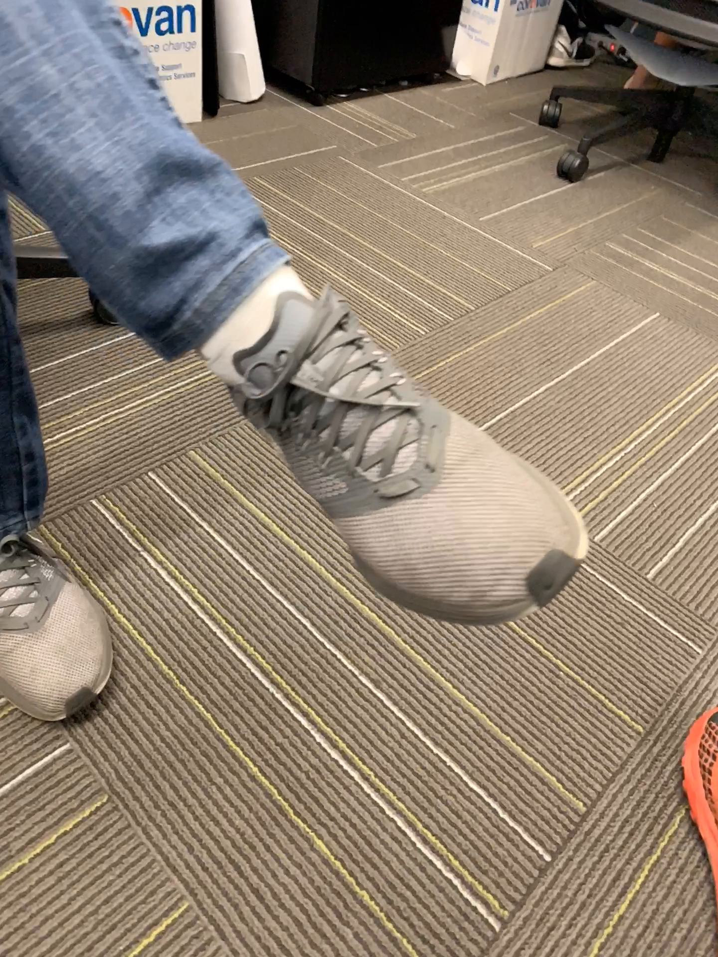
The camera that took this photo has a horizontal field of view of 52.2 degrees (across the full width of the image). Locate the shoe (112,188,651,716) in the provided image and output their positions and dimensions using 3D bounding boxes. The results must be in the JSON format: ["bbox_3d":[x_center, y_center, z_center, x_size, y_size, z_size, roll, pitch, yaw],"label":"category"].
[{"bbox_3d":[-0.004,-0.030,0.425,0.122,0.142,0.296,-47,49,4],"label":"shoe"}]

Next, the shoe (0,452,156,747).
[{"bbox_3d":[-0.326,0.103,0.707,0.120,0.085,0.270,-30,56,-35],"label":"shoe"}]
